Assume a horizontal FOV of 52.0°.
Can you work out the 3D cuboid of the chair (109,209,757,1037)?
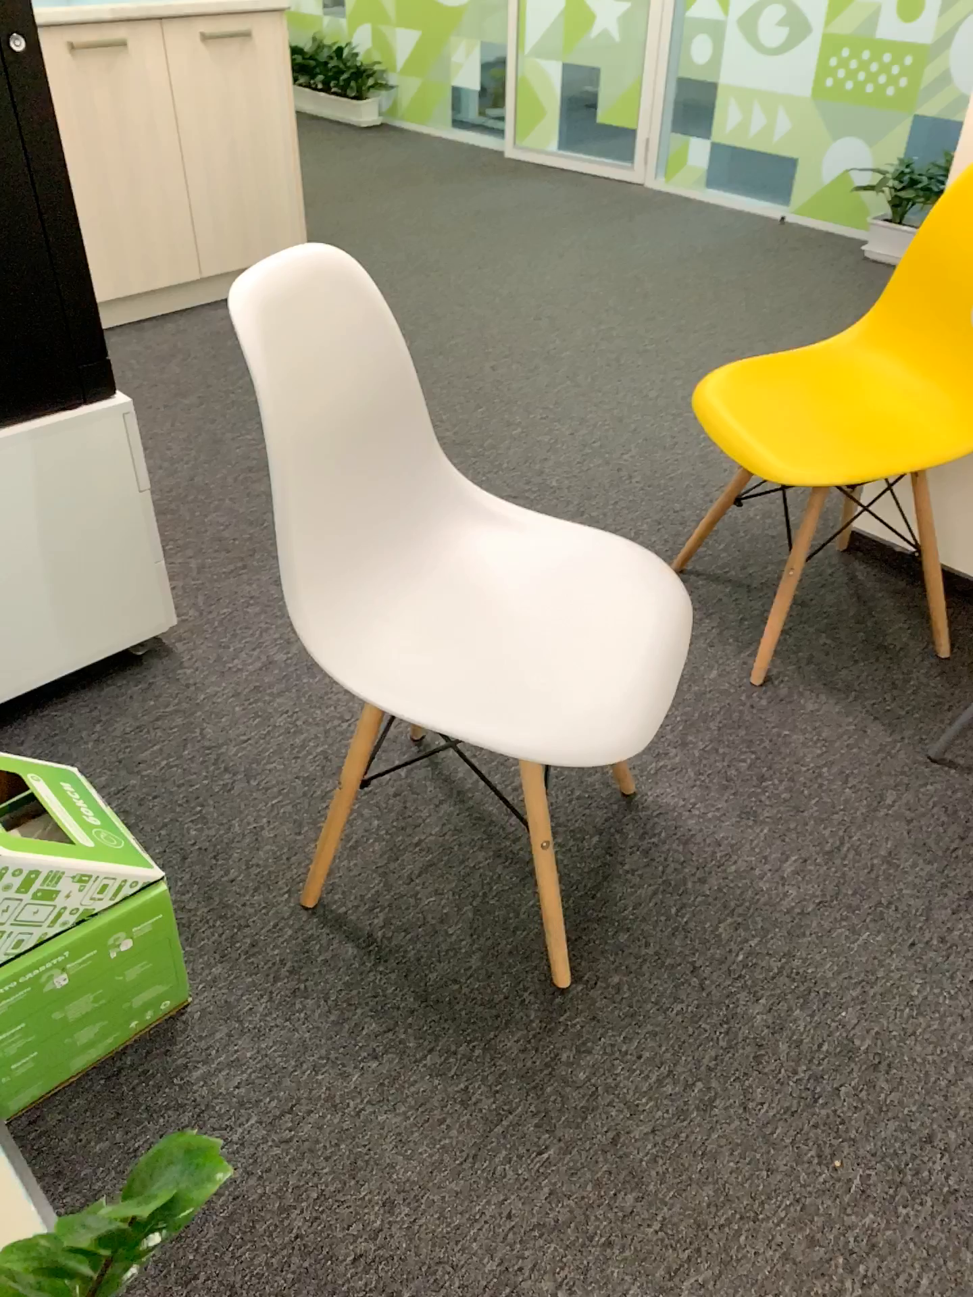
[{"bbox_3d":[-0.025,-0.029,1.232,0.500,0.815,0.463,13,39,15],"label":"chair"}]
